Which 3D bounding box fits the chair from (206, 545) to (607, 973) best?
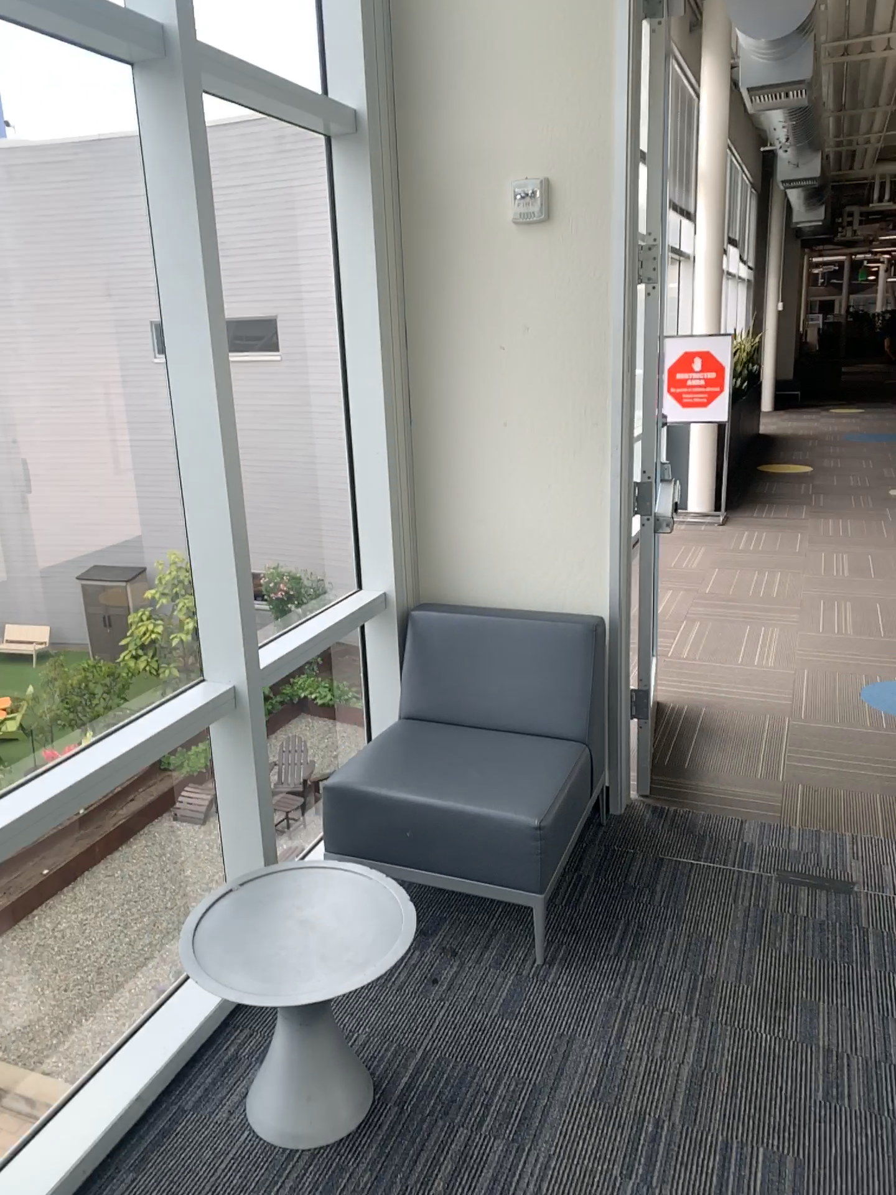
[{"bbox_3d":[-0.060,0.438,3.152,1.001,0.996,1.003,4,17,22],"label":"chair"}]
